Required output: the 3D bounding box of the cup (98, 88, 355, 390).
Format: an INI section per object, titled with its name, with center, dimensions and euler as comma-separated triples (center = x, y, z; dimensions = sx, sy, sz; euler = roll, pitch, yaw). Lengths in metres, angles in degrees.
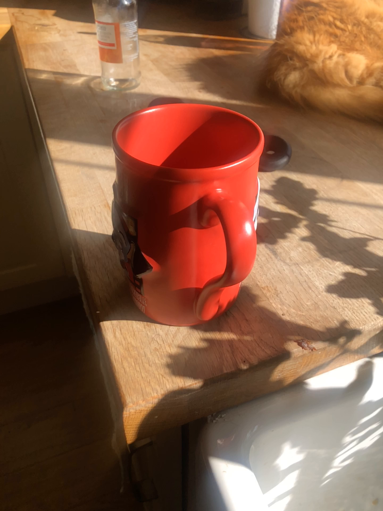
[cup]
center = 0.006, -0.018, 0.266
dimensions = 0.095, 0.119, 0.132
euler = -11, 43, -16
